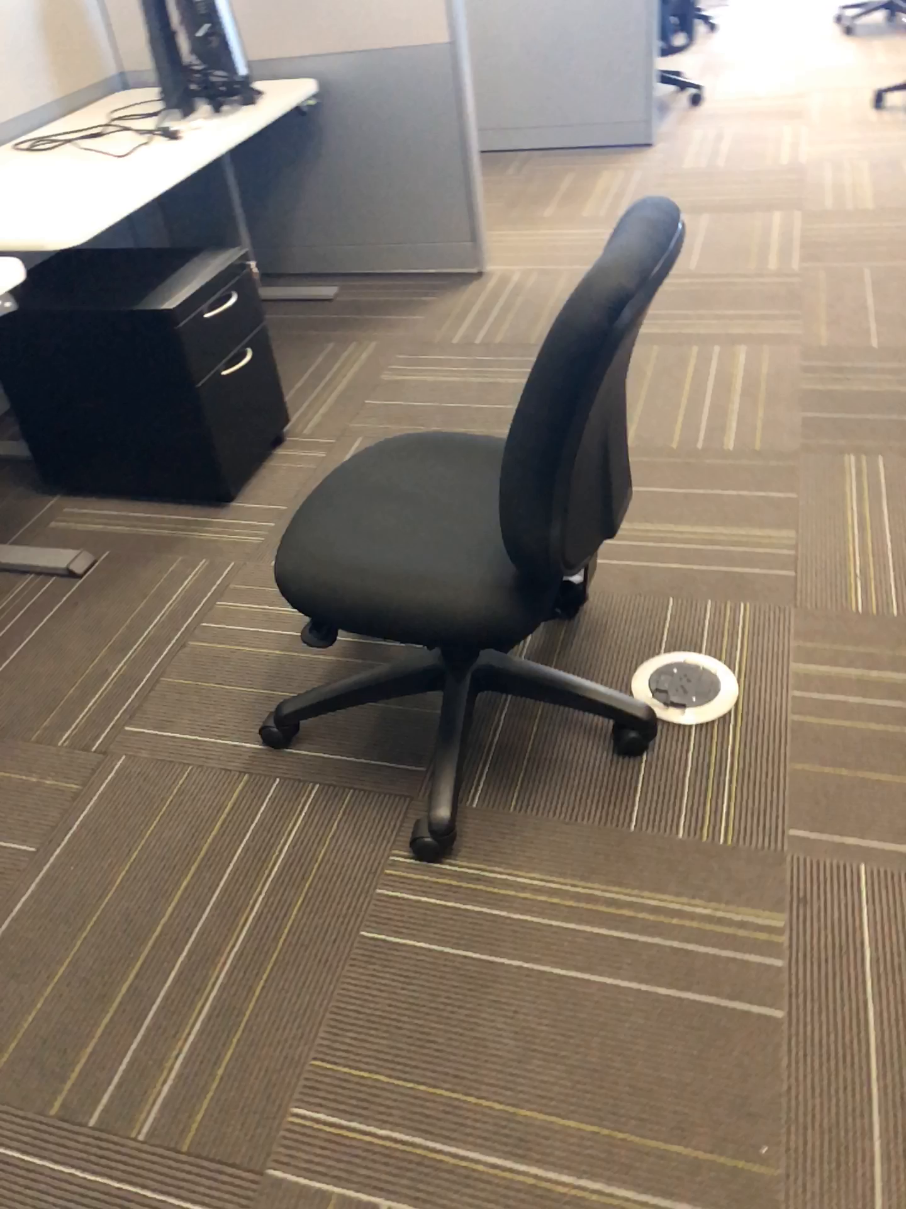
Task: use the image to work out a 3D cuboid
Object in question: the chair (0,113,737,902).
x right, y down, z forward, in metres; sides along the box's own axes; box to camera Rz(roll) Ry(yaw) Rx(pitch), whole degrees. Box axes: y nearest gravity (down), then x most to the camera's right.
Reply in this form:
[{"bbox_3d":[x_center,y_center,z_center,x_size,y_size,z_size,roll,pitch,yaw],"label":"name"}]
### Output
[{"bbox_3d":[0.002,-0.181,1.540,0.761,0.845,0.773,4,39,16],"label":"chair"}]
